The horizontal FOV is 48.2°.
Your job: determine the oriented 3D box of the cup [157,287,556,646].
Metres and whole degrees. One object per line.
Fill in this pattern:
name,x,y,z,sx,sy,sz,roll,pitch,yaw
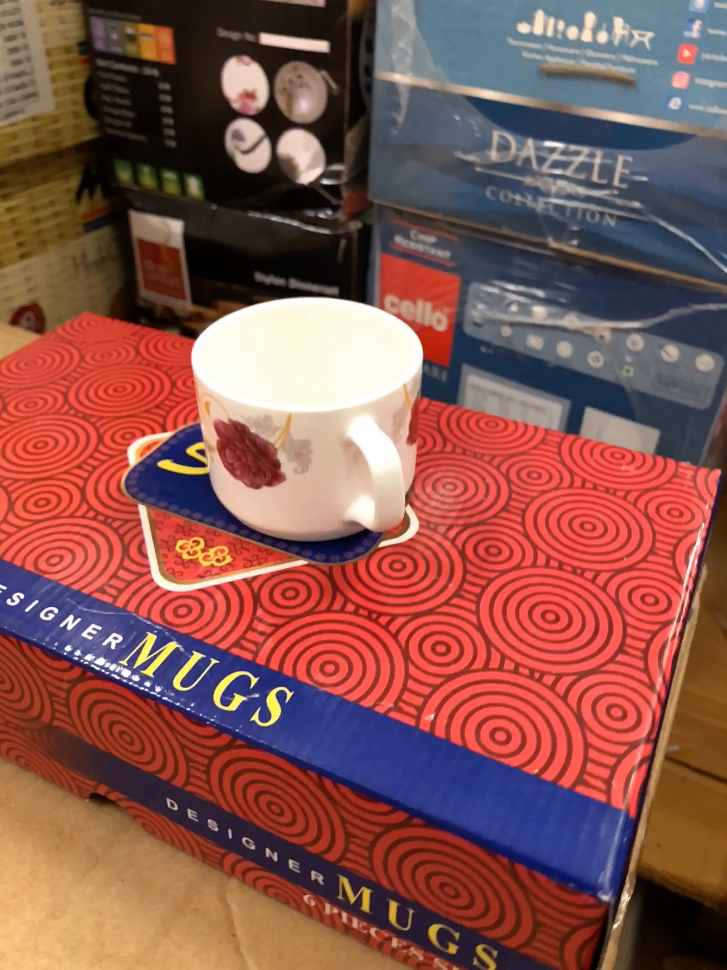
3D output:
cup,-0.007,-0.014,0.257,0.080,0.050,0.100,-17,41,-25
